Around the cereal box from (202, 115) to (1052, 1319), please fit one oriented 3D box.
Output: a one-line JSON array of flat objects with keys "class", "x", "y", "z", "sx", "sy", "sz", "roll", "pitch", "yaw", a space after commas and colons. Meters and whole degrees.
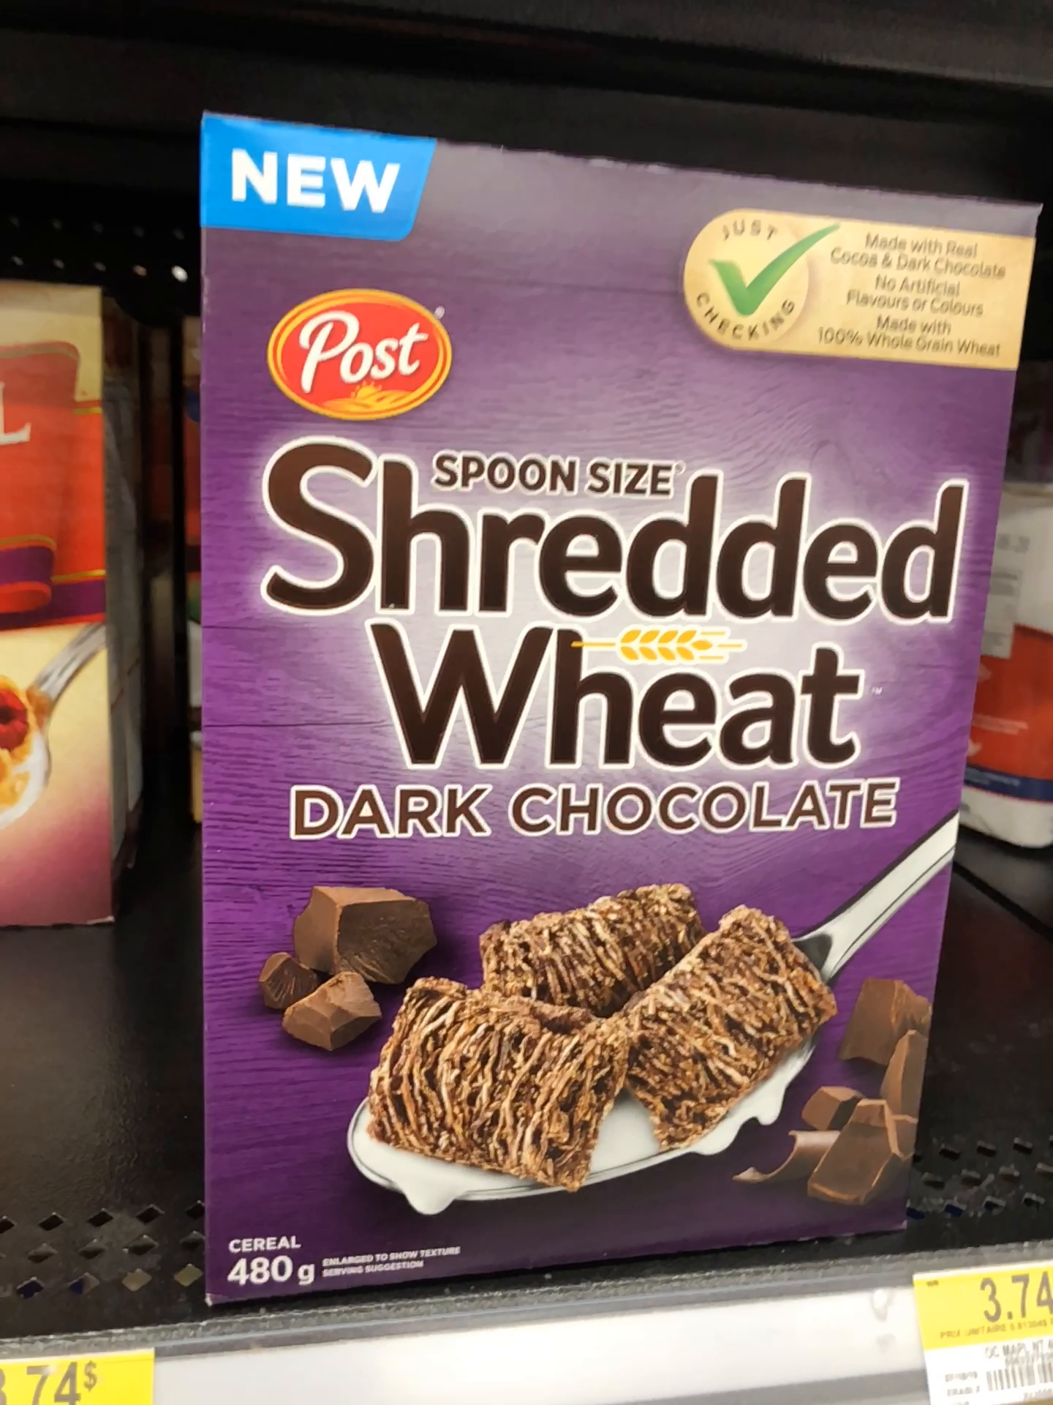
[{"class": "cereal box", "x": 0.023, "y": 0.011, "z": 0.304, "sx": 0.200, "sy": 0.269, "sz": 0.060, "roll": 0, "pitch": 14, "yaw": -13}]
